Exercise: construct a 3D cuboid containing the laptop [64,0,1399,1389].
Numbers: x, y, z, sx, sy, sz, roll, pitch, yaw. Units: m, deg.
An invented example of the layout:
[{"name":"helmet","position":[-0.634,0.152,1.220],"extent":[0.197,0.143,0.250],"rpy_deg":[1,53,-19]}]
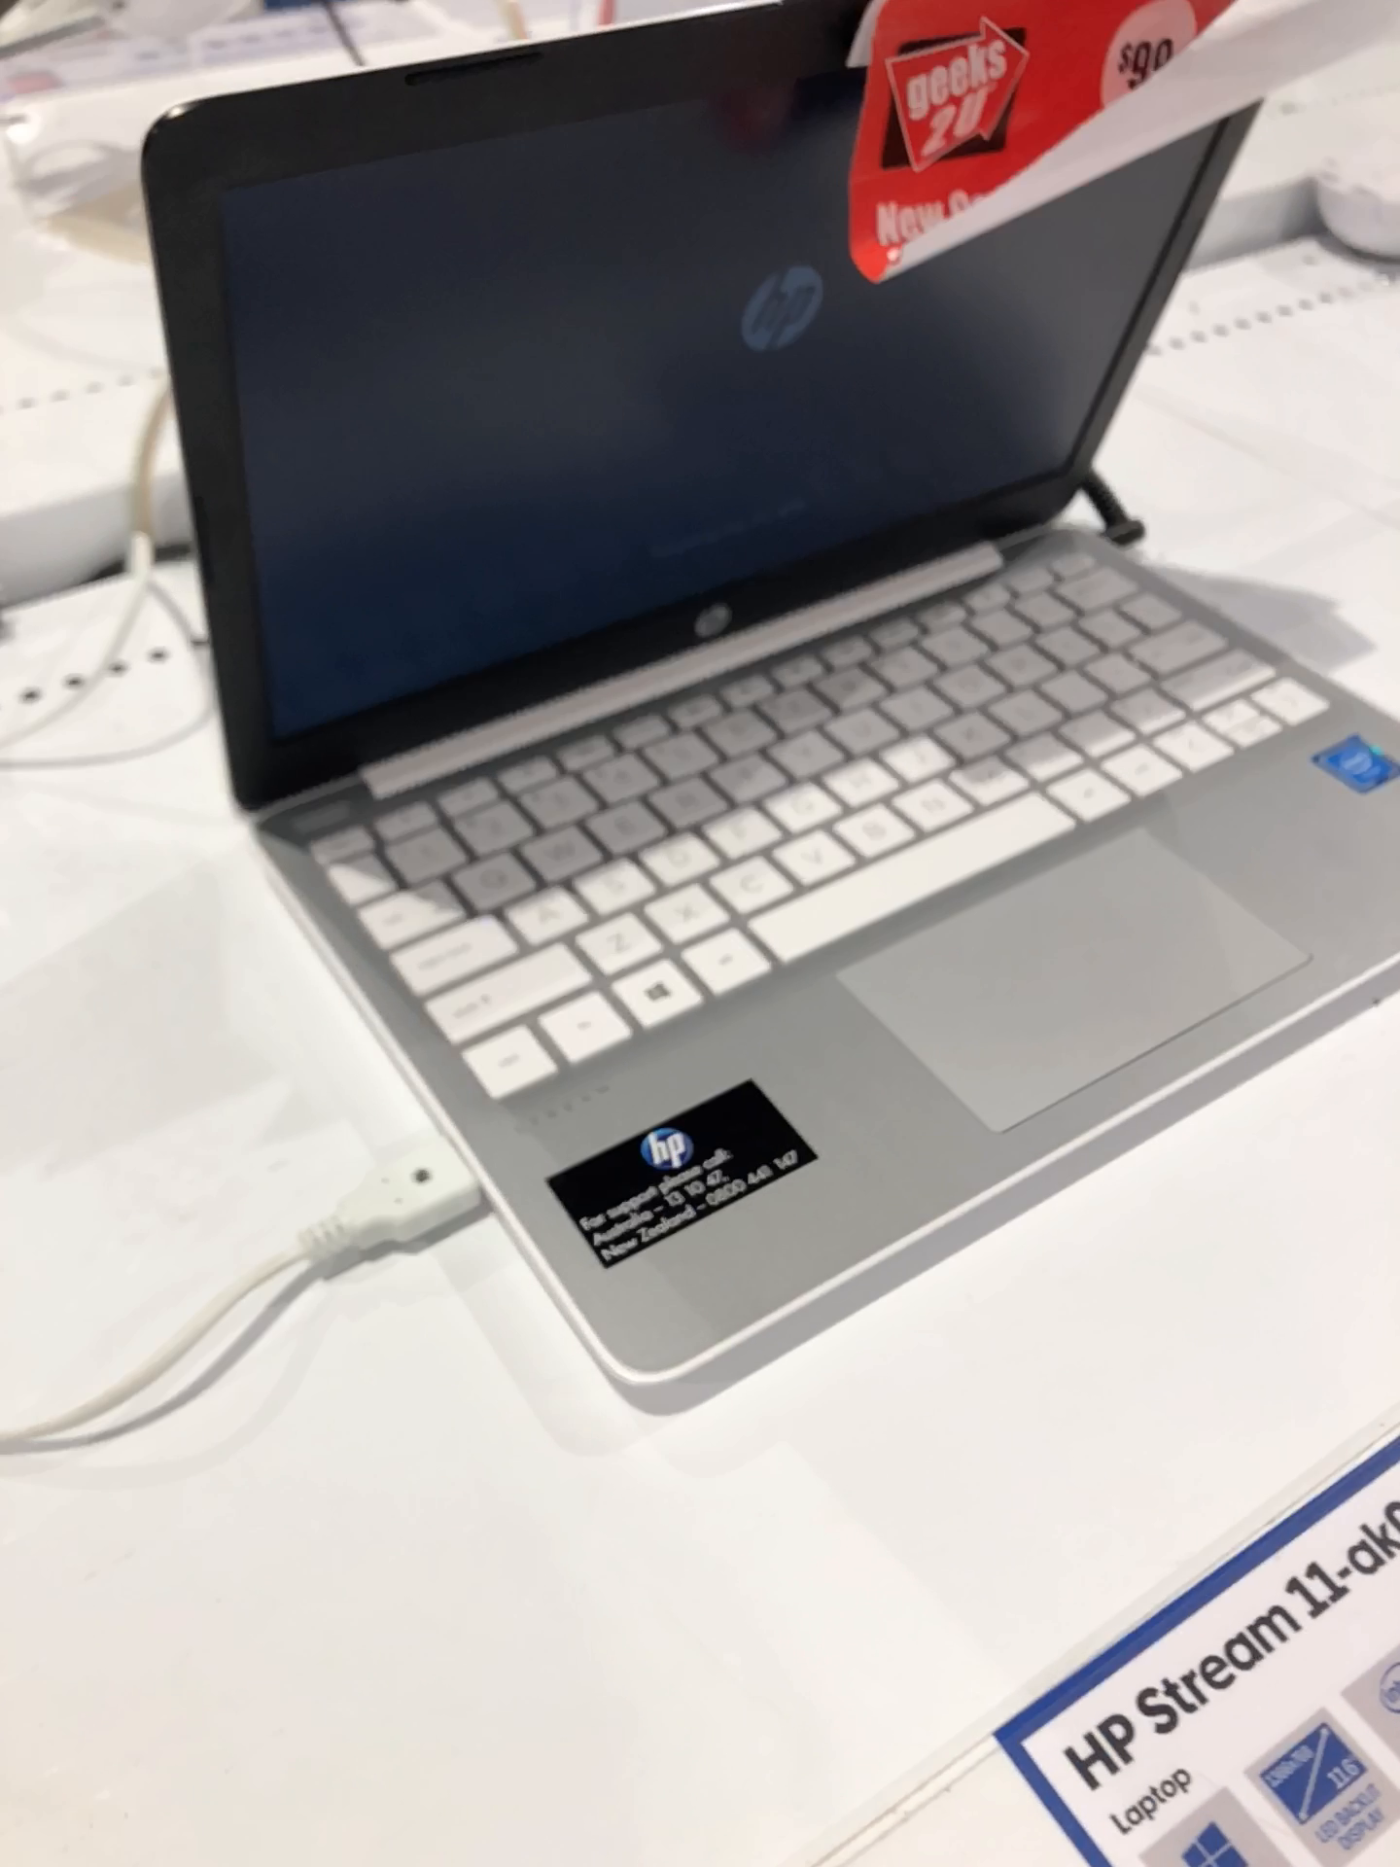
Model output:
[{"name":"laptop","position":[0.054,-0.088,0.328],"extent":[0.273,0.173,0.184],"rpy_deg":[-25,49,-25]}]
